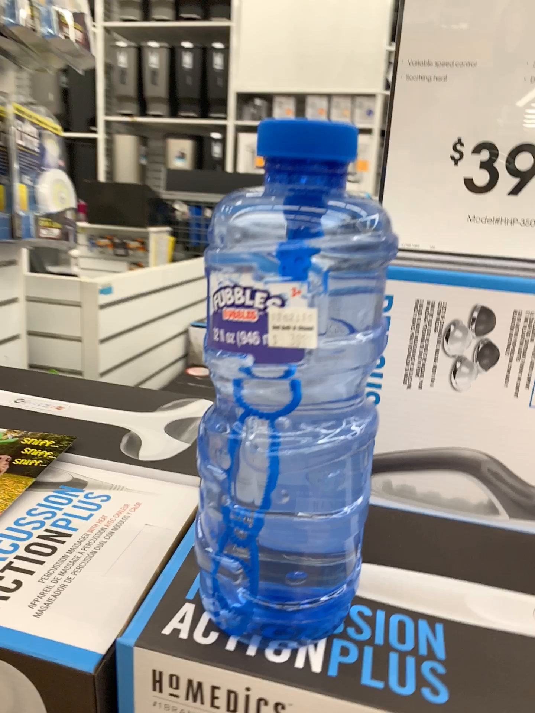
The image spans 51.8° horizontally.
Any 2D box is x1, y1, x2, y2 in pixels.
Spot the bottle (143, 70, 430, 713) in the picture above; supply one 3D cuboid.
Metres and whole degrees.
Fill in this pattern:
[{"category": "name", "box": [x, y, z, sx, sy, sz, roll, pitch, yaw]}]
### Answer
[{"category": "bottle", "box": [0.003, 0.016, 0.251, 0.081, 0.243, 0.081, 4, 15, -1]}]
